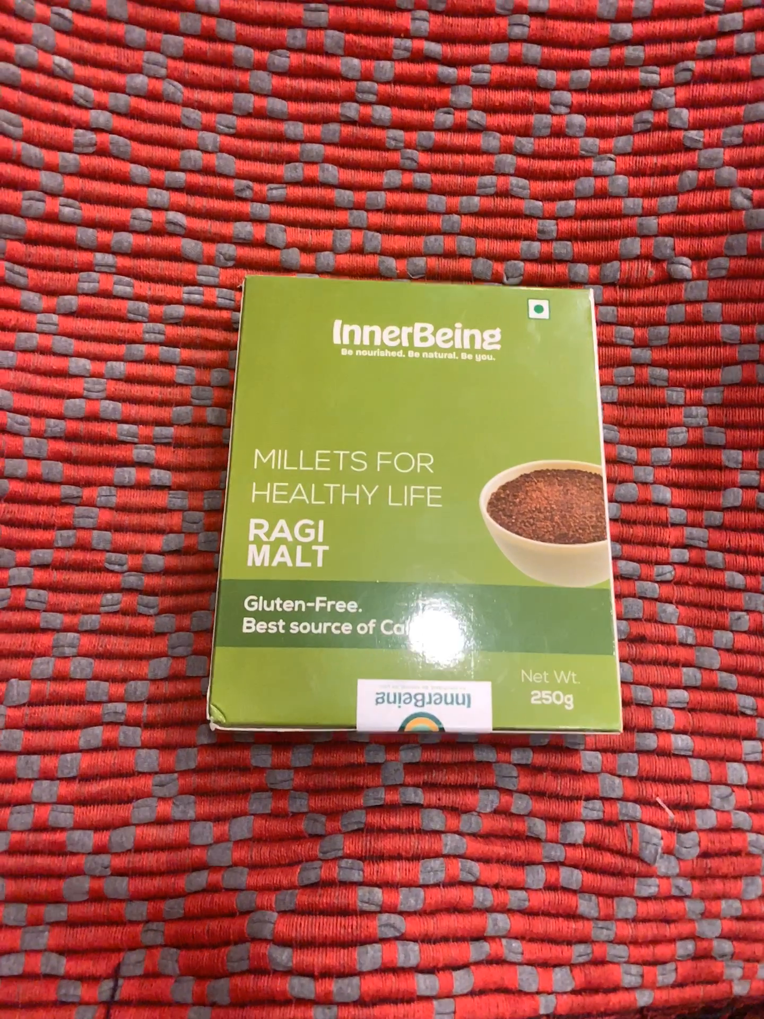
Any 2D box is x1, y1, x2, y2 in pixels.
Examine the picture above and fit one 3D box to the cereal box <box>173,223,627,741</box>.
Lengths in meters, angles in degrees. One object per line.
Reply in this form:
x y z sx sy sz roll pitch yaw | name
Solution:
0.006 -0.010 0.275 0.130 0.050 0.170 2 72 -2 | cereal box
